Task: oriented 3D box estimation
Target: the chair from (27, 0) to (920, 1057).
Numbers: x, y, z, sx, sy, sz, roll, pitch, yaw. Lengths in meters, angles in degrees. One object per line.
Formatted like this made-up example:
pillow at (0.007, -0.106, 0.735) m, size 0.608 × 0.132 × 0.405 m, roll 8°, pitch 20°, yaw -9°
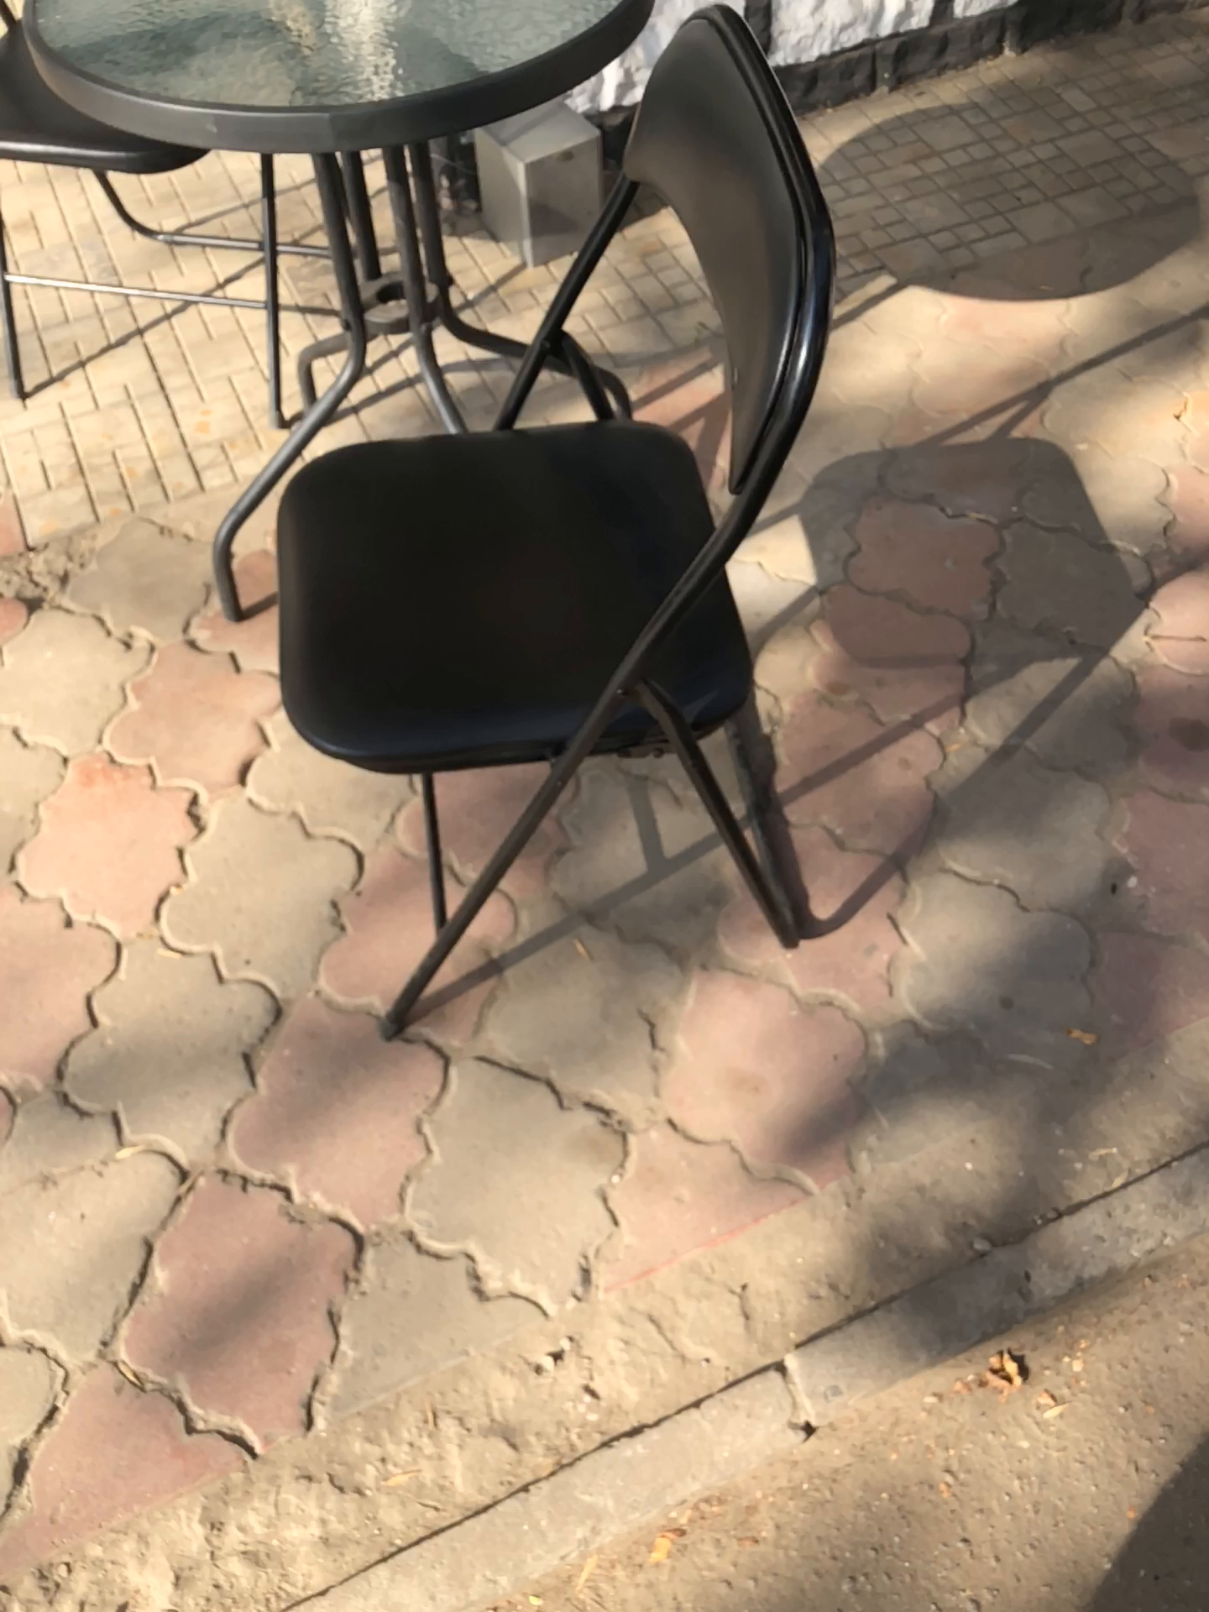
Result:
chair at (-0.101, -0.263, 1.354) m, size 0.570 × 0.837 × 0.582 m, roll -8°, pitch 48°, yaw -4°
